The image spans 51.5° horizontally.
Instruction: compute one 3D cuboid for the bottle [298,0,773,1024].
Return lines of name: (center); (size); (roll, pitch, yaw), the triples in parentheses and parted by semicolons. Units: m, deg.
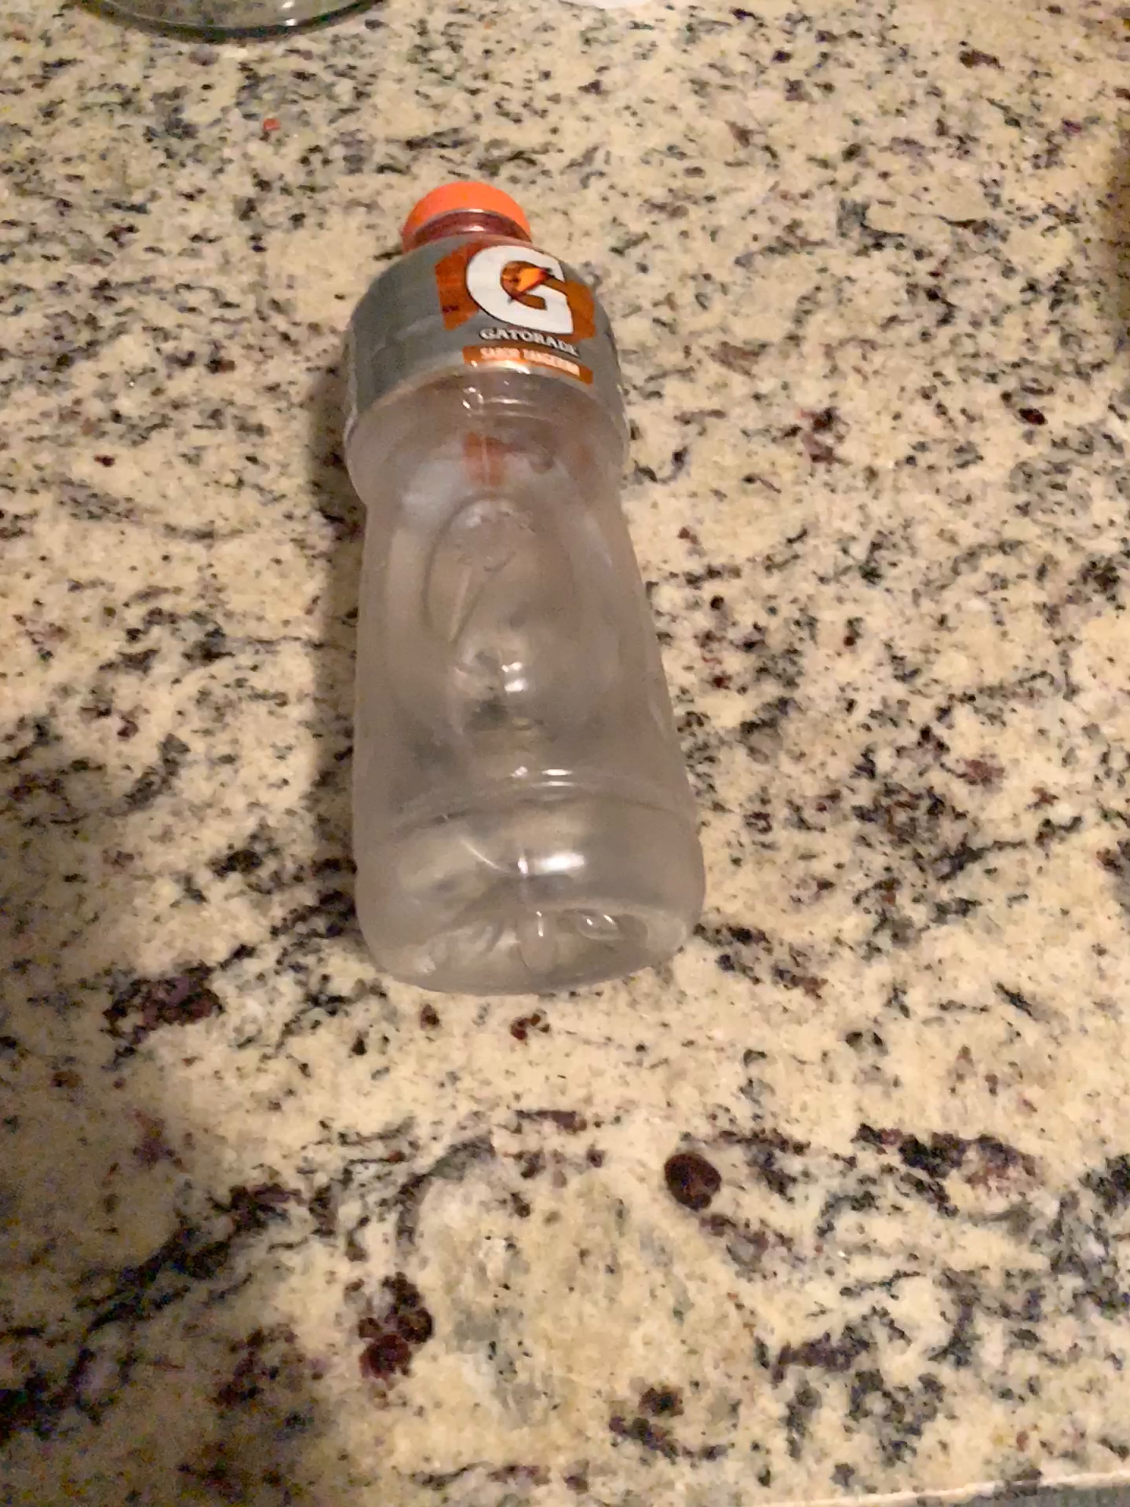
bottle: (-0.016, -0.062, 0.257); (0.070, 0.070, 0.221); (-5, 63, -4)
